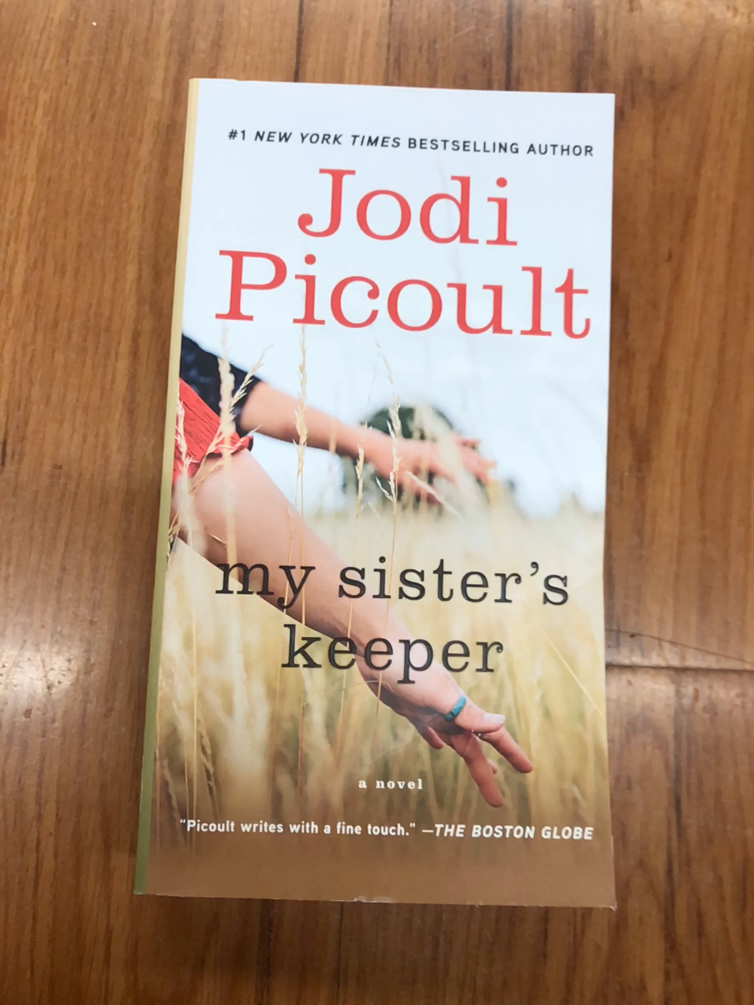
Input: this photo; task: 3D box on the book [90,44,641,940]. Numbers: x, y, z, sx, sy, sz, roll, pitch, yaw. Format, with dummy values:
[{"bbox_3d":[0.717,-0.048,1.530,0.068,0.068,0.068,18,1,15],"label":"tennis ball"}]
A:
[{"bbox_3d":[0.001,-0.005,0.203,0.110,0.040,0.190,3,83,-3],"label":"book"}]
